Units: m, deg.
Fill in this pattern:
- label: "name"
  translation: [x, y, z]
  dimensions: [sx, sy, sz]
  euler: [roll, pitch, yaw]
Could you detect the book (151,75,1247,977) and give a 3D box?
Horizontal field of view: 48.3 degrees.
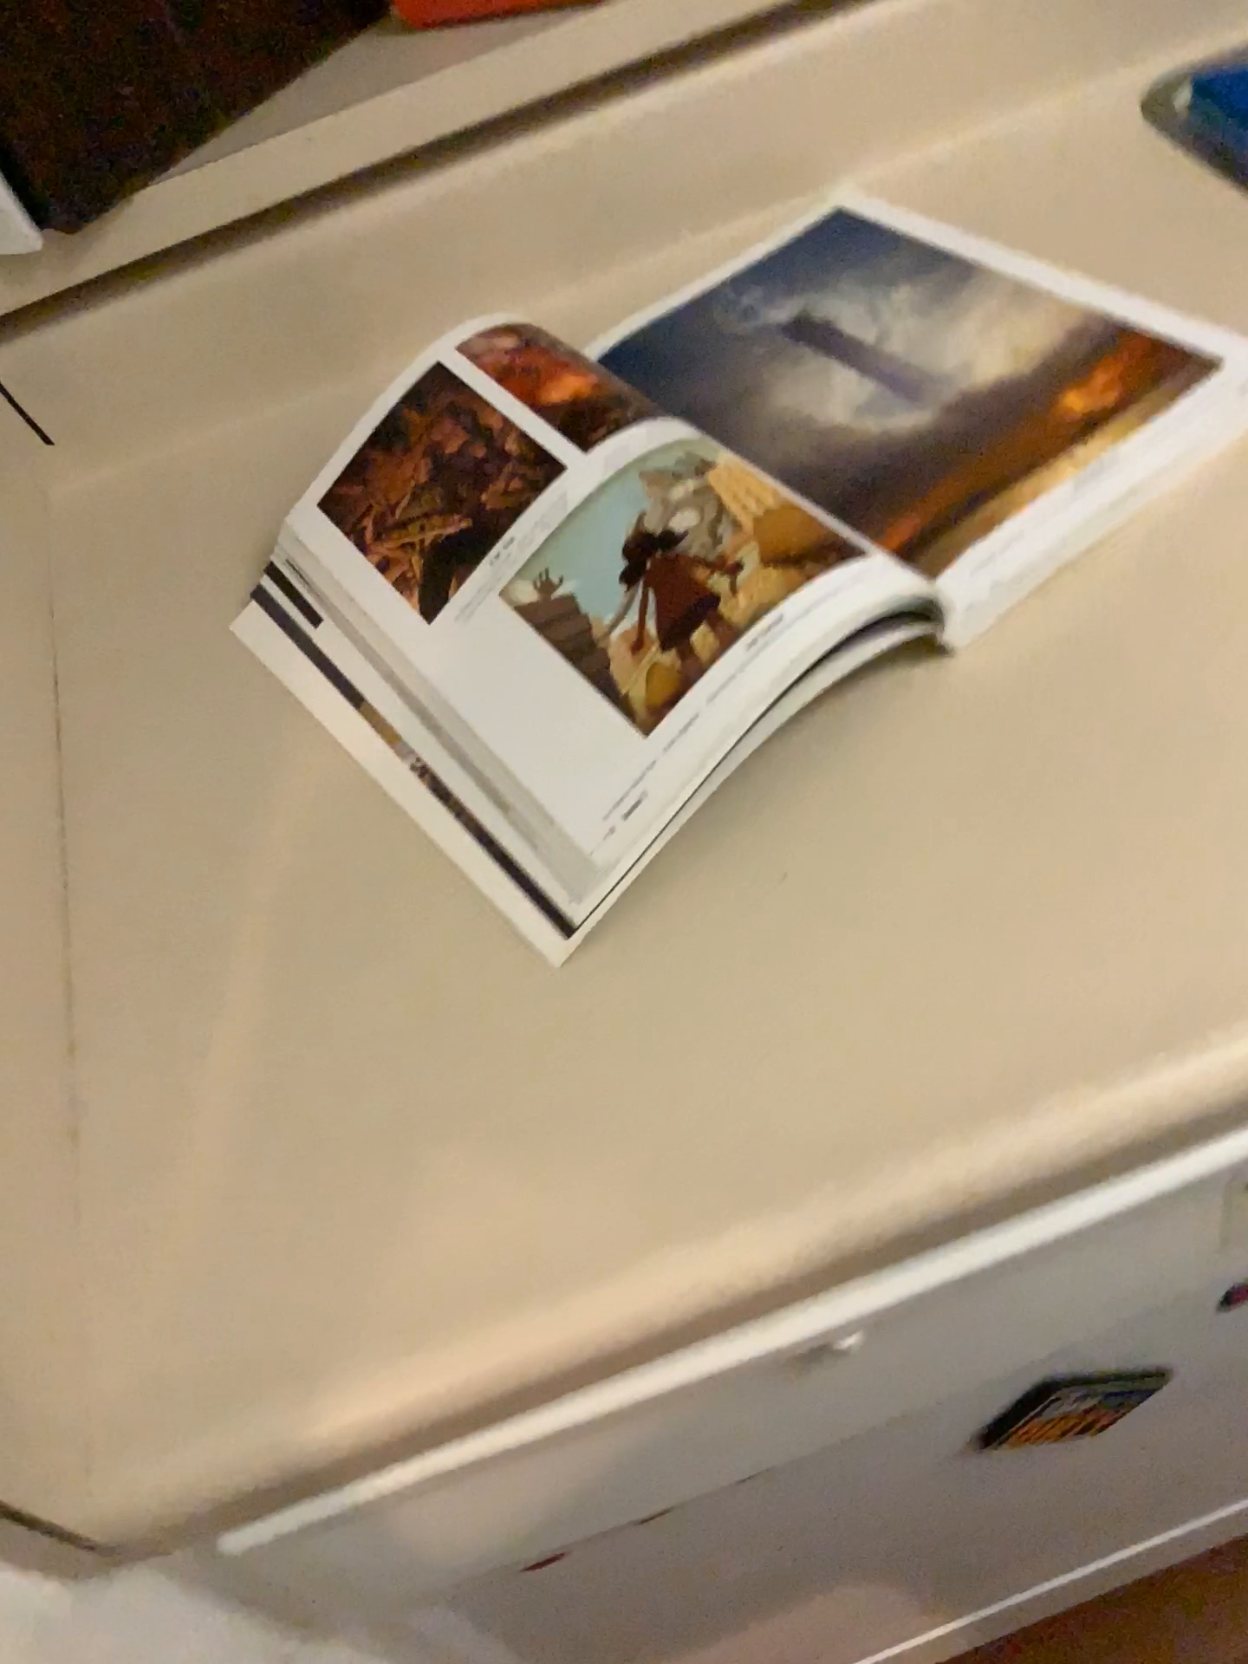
- label: "book"
  translation: [0.048, -0.184, 0.655]
  dimensions: [0.450, 0.070, 0.320]
  euler: [-37, 52, -13]
